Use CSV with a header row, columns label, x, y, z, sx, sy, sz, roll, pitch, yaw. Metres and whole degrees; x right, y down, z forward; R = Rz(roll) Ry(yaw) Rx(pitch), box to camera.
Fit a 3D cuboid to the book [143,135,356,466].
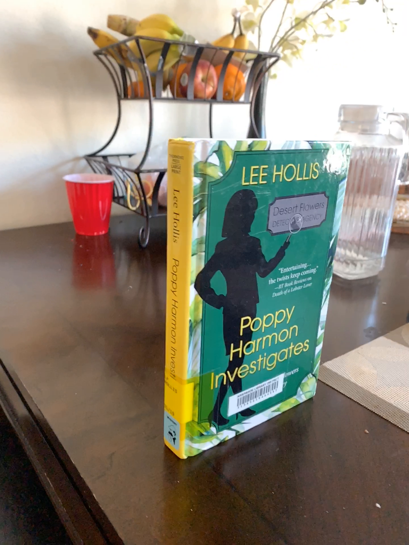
label,x,y,z,sx,sy,sz,roll,pitch,yaw
book,0.035,0.013,0.318,0.154,0.220,0.040,-12,23,-34
